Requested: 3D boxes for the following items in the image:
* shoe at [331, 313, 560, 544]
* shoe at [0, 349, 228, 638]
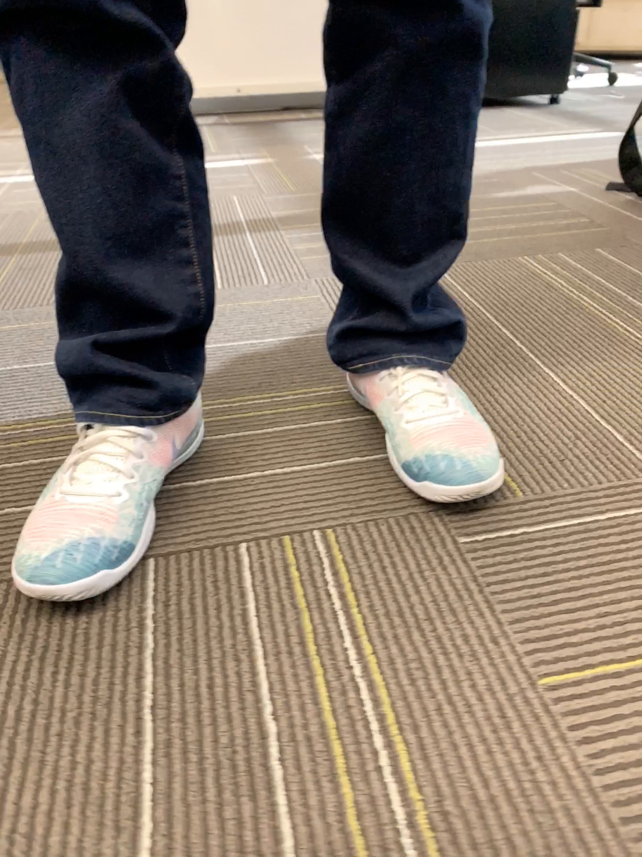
[{"bbox_3d":[0.107,-0.019,0.676,0.122,0.078,0.291,-10,33,-10],"label":"shoe"},{"bbox_3d":[-0.184,0.035,0.583,0.117,0.088,0.284,4,33,9],"label":"shoe"}]
